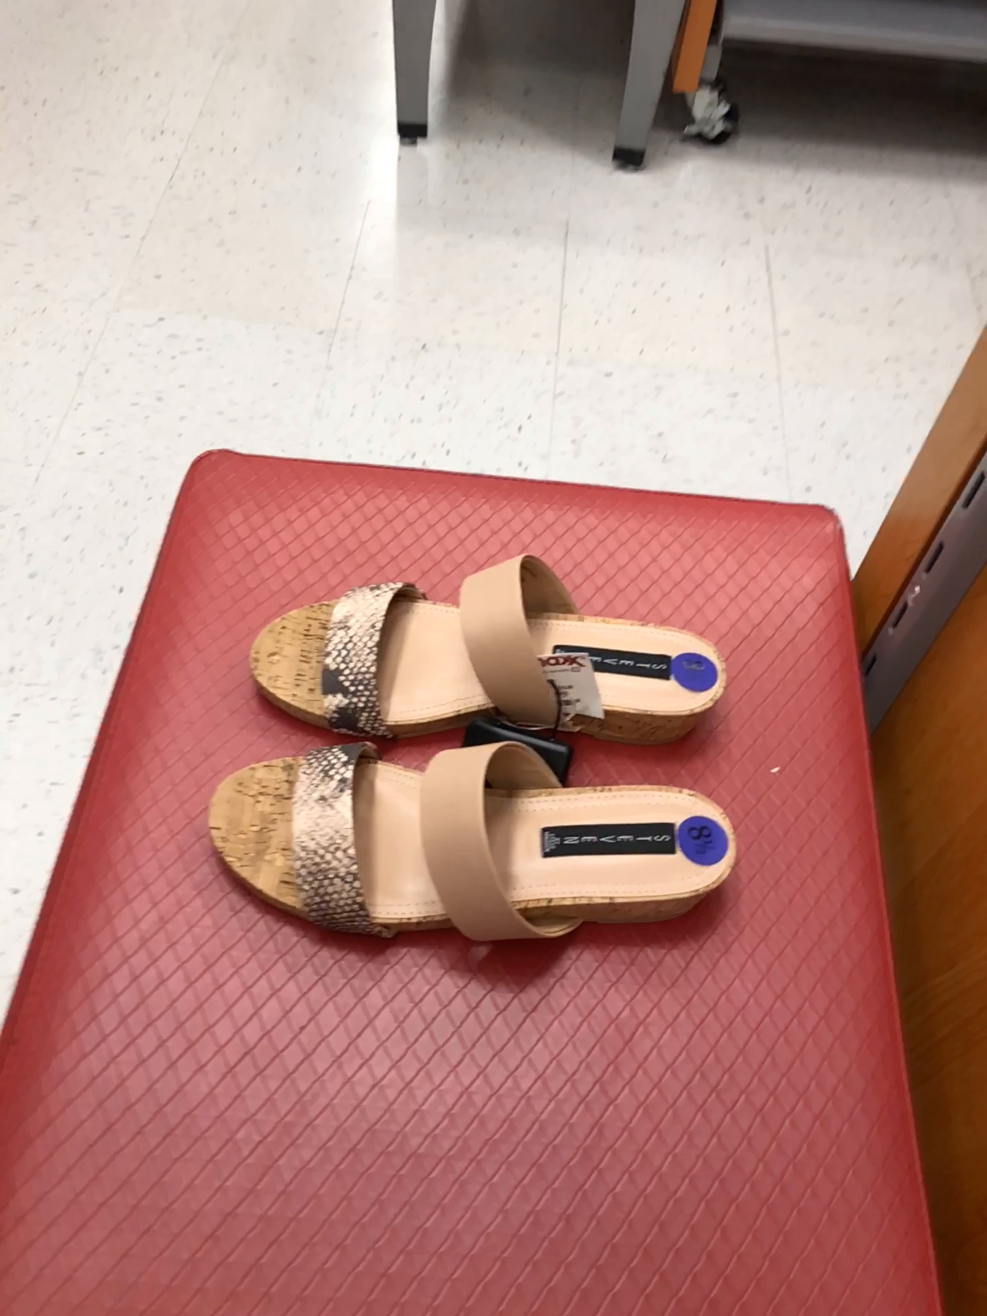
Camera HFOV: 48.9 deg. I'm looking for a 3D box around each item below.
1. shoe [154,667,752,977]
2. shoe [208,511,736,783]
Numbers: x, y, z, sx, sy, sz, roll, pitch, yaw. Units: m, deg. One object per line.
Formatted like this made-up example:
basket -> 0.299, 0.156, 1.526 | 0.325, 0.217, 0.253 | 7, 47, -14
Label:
shoe -> -0.016, 0.080, 0.527 | 0.257, 0.085, 0.096 | 6, 55, 0
shoe -> -0.010, -0.005, 0.589 | 0.257, 0.085, 0.095 | 5, 55, -1
